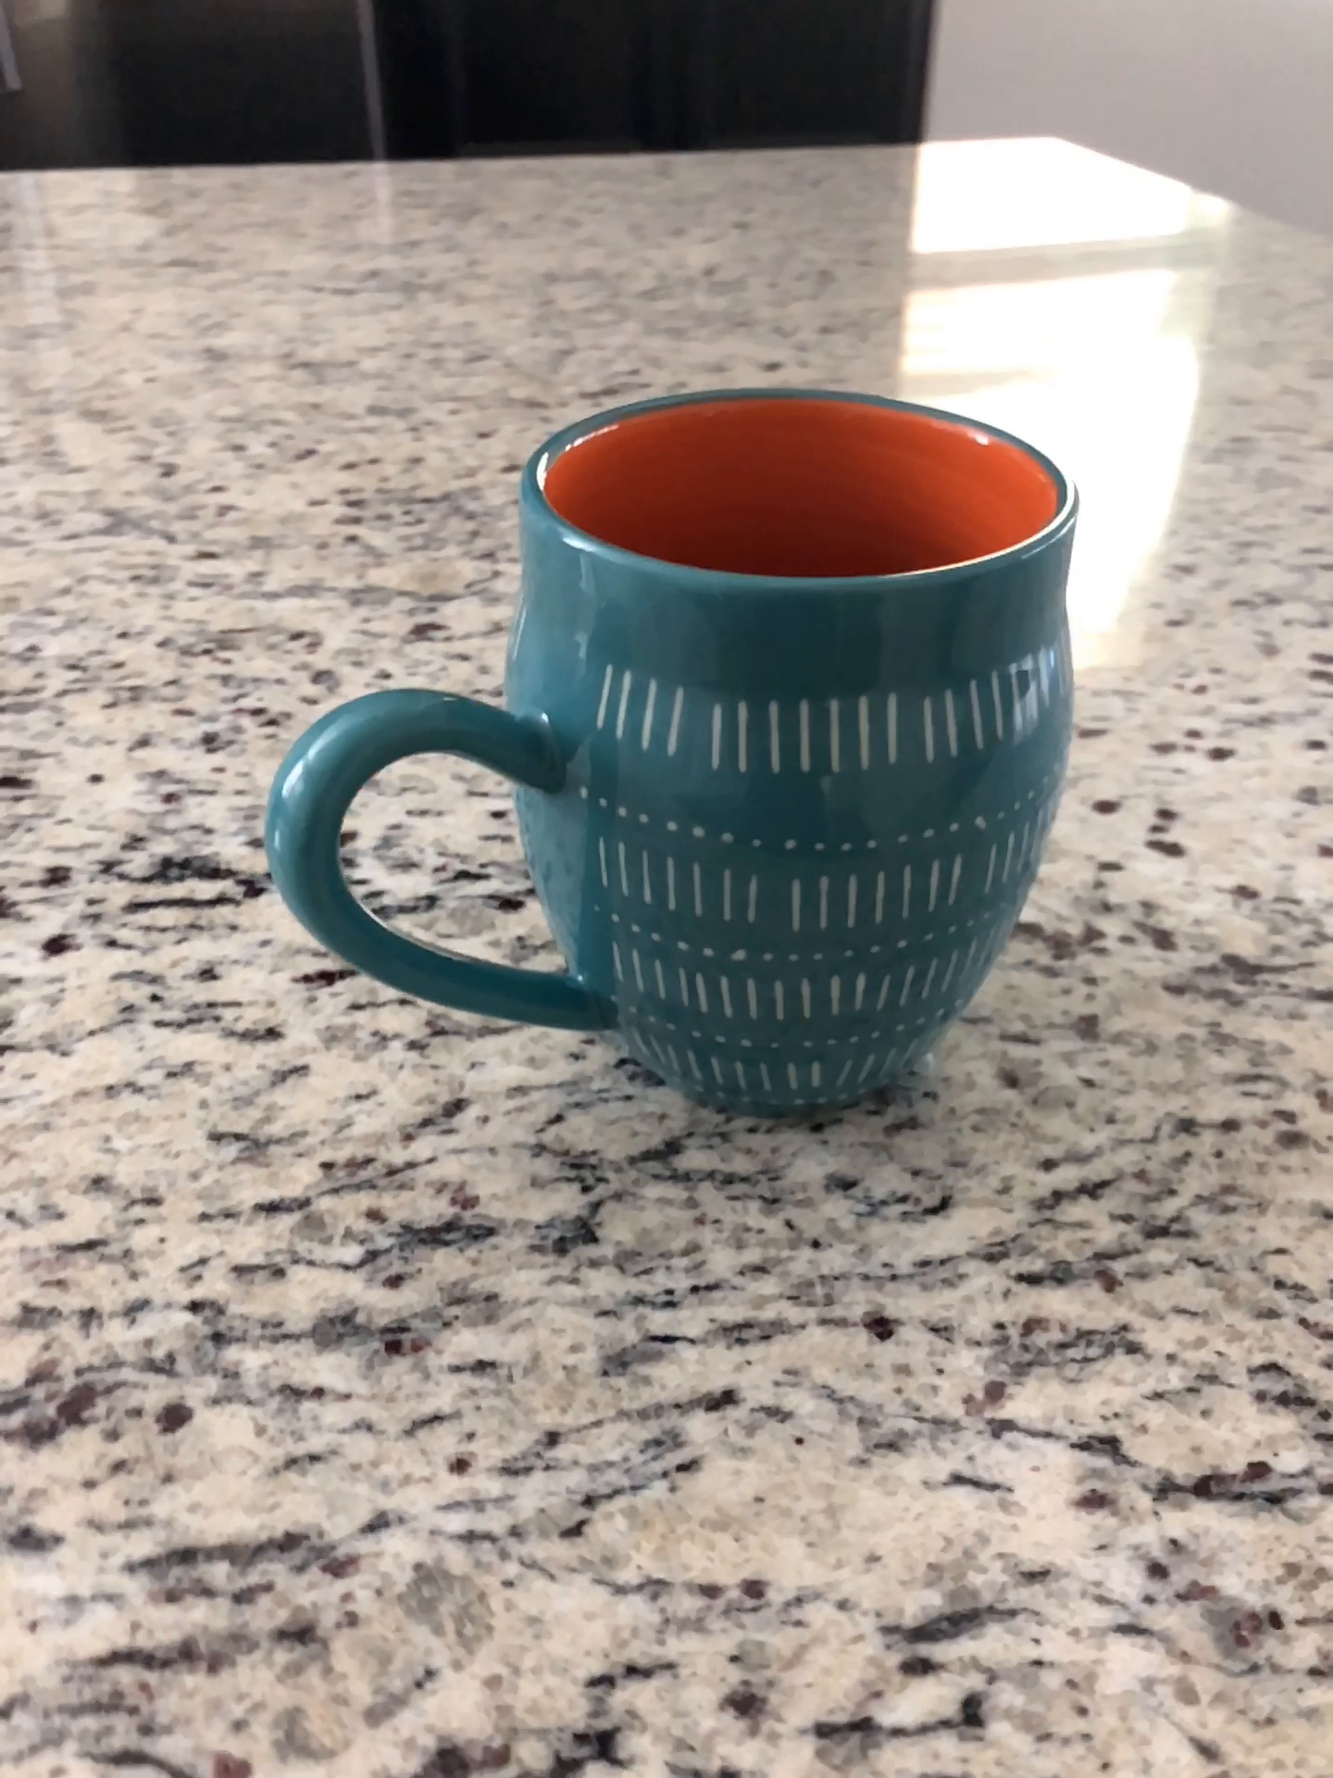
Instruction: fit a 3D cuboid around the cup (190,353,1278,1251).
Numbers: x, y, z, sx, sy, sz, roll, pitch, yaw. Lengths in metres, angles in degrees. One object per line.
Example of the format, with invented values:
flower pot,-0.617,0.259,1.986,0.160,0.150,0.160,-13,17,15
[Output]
cup,0.003,-0.027,0.274,0.150,0.099,0.111,-11,36,-17
